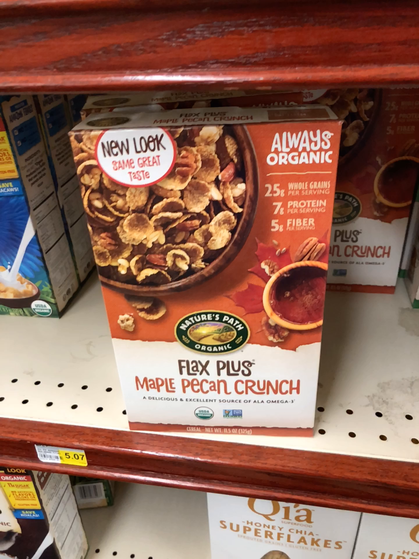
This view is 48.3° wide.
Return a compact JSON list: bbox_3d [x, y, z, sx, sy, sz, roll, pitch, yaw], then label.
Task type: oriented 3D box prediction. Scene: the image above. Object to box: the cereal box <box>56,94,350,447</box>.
[{"bbox_3d":[0.004,0.009,0.345,0.160,0.259,0.060,0,32,7],"label":"cereal box"}]
